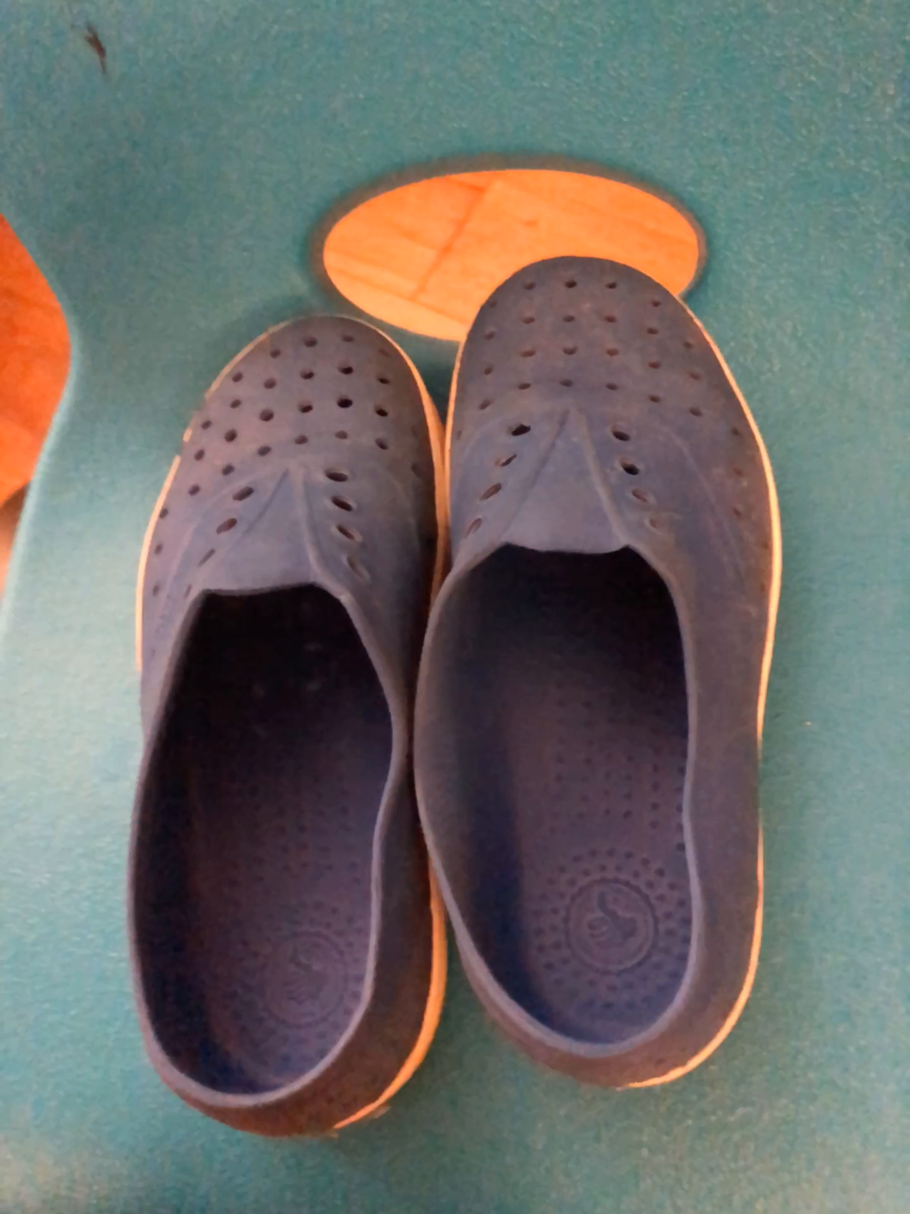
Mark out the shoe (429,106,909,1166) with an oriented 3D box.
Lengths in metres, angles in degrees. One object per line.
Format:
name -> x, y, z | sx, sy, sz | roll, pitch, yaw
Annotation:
shoe -> 0.050, 0.000, 0.257 | 0.100, 0.070, 0.240 | -4, 70, 8

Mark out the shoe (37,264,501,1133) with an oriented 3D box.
shoe -> -0.040, 0.022, 0.281 | 0.090, 0.080, 0.210 | -4, 70, 8
